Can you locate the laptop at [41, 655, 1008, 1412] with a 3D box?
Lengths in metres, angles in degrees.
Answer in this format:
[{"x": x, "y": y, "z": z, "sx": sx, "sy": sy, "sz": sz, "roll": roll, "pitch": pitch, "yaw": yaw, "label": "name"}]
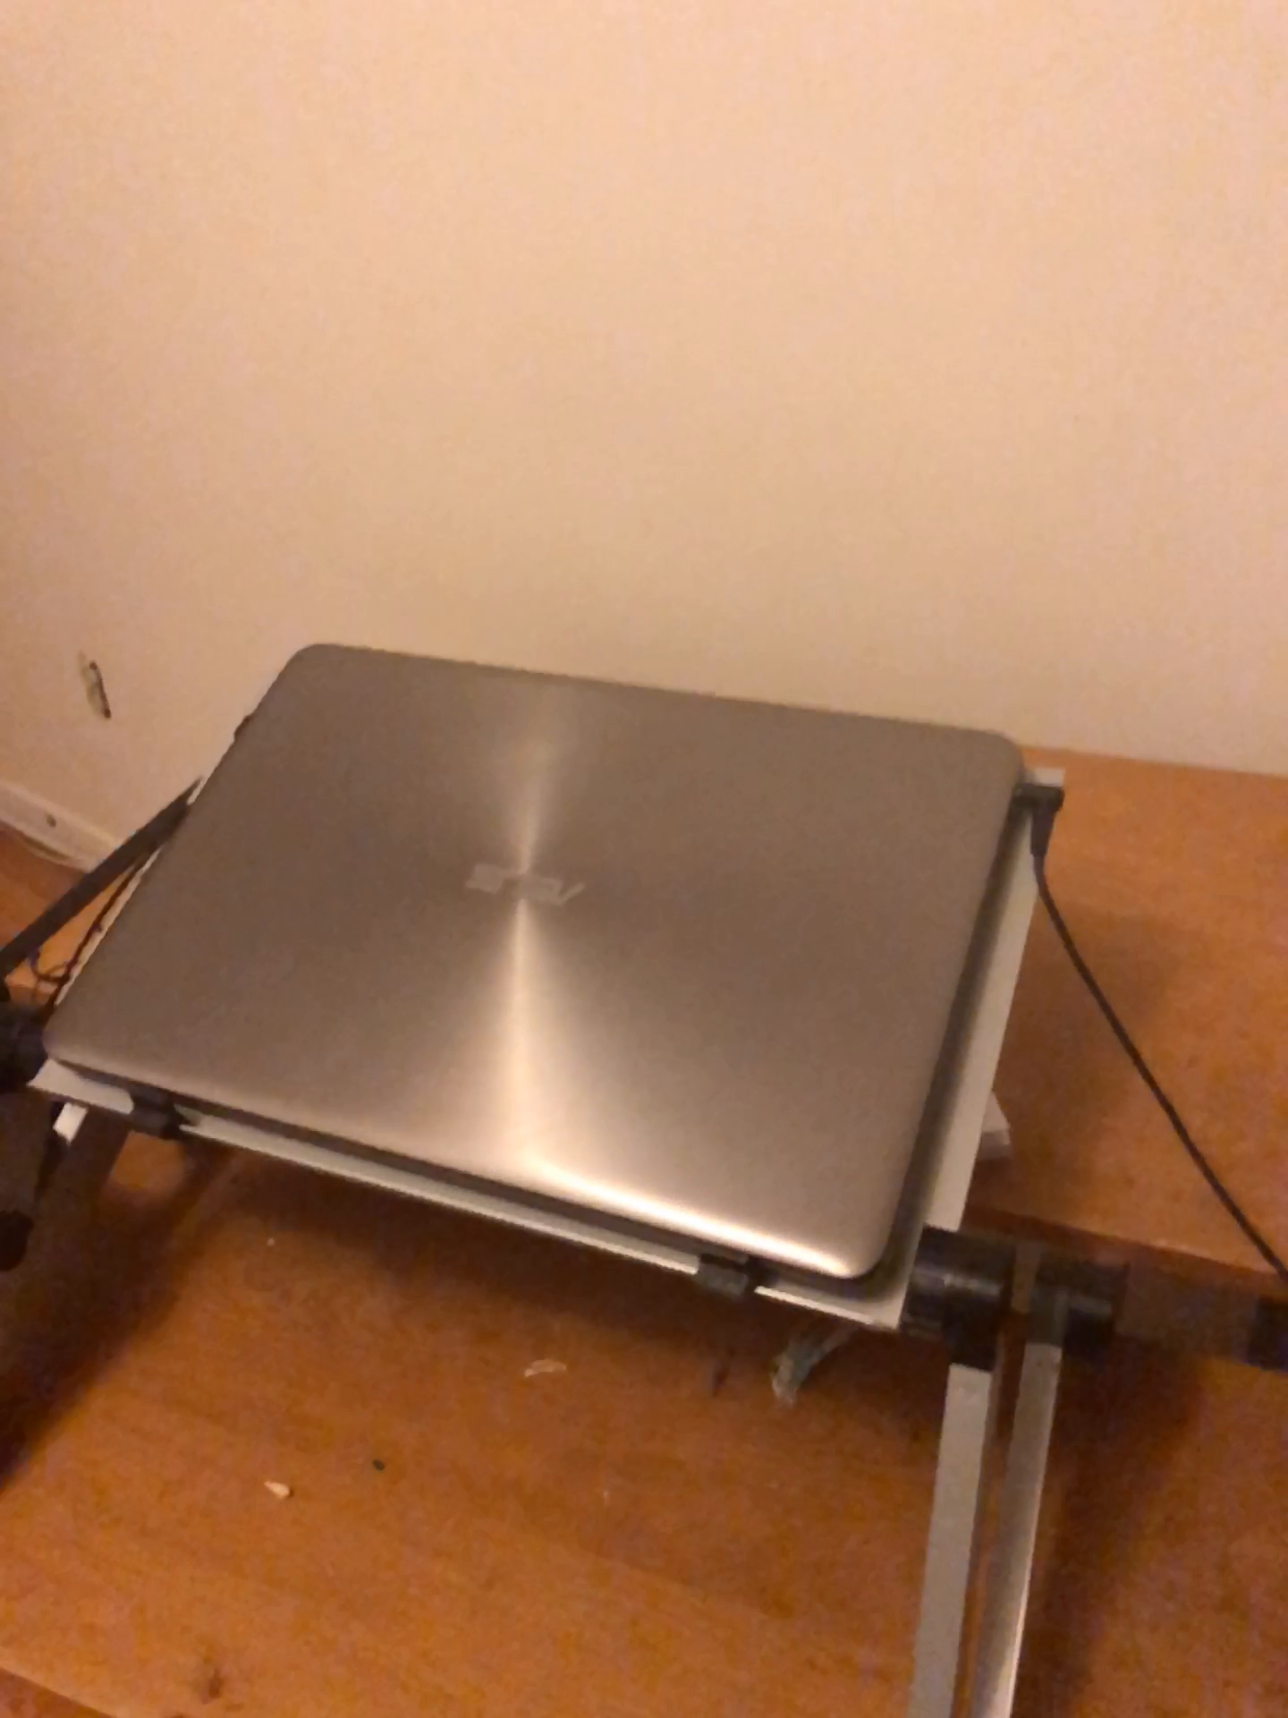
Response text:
[{"x": -0.050, "y": 0.046, "z": 0.632, "sx": 0.362, "sy": 0.071, "sz": 0.250, "roll": 10, "pitch": 52, "yaw": 23, "label": "laptop"}]
